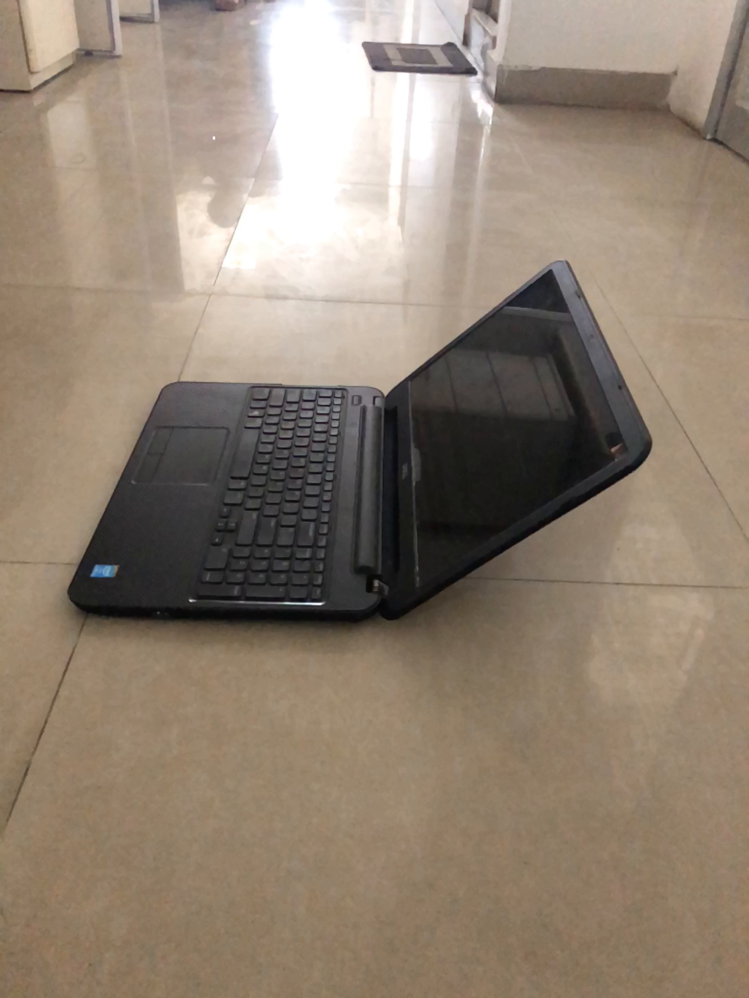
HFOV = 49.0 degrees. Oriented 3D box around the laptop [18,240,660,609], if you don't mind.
[{"bbox_3d":[-0.023,-0.089,0.740,0.427,0.163,0.360,1,36,0],"label":"laptop"}]
